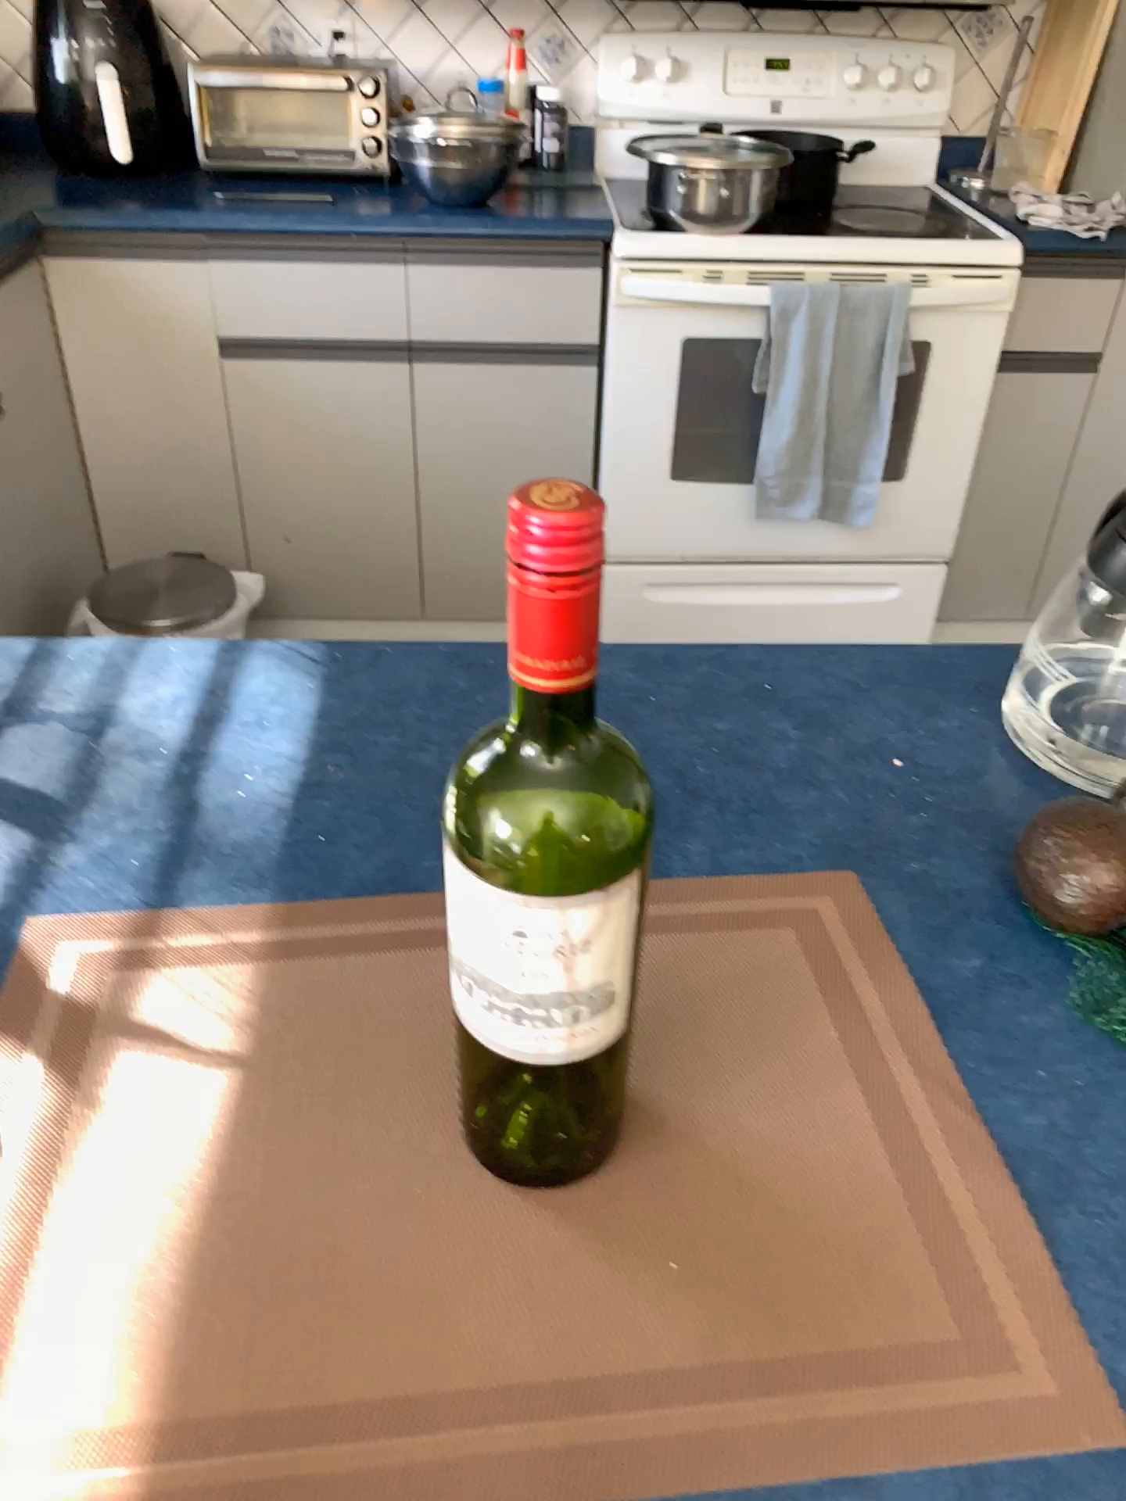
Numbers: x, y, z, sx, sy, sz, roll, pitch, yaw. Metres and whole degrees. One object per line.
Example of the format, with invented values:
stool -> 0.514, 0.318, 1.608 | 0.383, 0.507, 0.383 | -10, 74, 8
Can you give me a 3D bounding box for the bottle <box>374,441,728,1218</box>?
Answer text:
bottle -> -0.005, 0.041, 0.422 | 0.080, 0.277, 0.081 | 1, 35, -1
